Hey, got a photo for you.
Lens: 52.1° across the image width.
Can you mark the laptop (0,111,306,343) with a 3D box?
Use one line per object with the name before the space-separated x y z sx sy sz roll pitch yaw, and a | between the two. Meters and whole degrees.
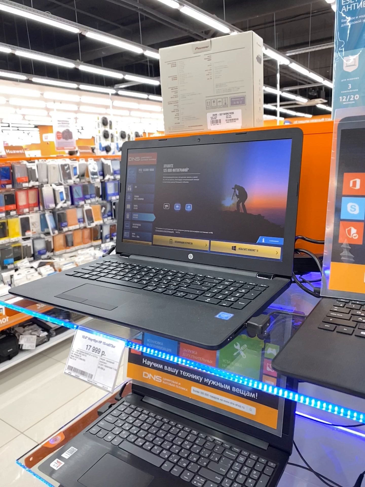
laptop | -0.037 -0.058 0.618 0.389 0.236 0.322 6 14 33
